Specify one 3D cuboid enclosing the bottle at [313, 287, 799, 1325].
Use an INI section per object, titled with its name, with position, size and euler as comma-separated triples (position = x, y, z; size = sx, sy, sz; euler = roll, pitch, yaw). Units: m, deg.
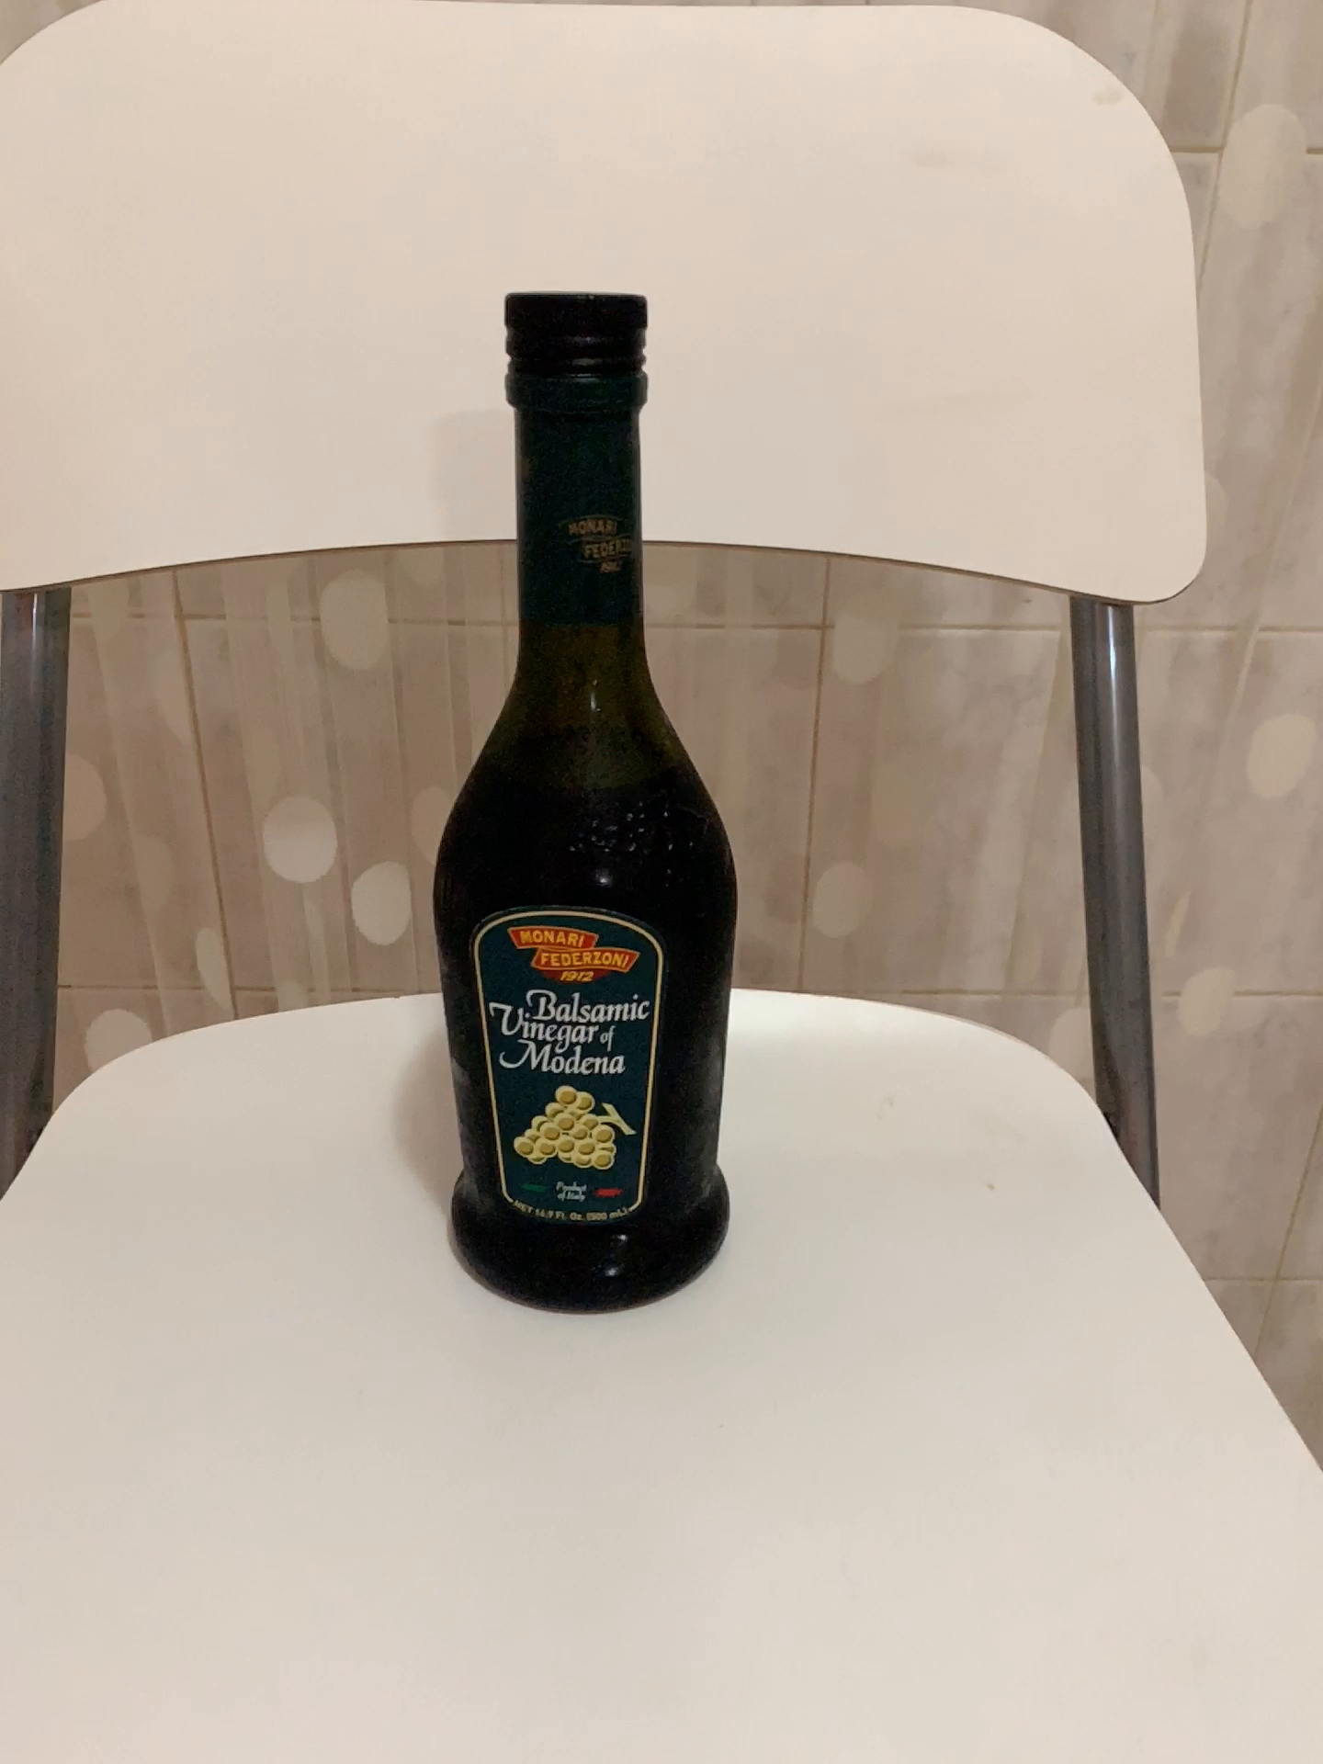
[bottle]
position = -0.020, -0.013, 0.339
size = 0.090, 0.243, 0.080
euler = 2, 26, 2
